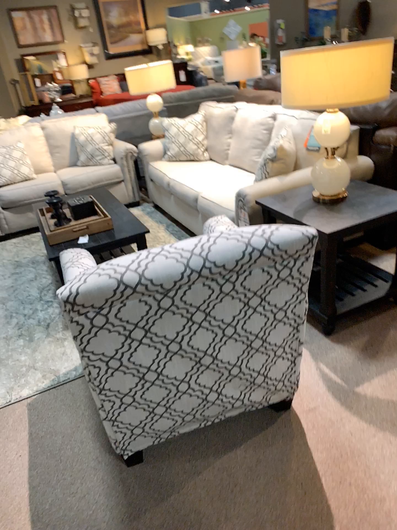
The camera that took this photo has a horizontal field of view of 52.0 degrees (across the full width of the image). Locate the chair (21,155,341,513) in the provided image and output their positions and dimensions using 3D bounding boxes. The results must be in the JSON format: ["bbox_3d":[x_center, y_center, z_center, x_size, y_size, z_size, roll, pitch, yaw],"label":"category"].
[{"bbox_3d":[-0.102,0.141,1.669,0.874,0.847,0.969,-15,28,-13],"label":"chair"}]
